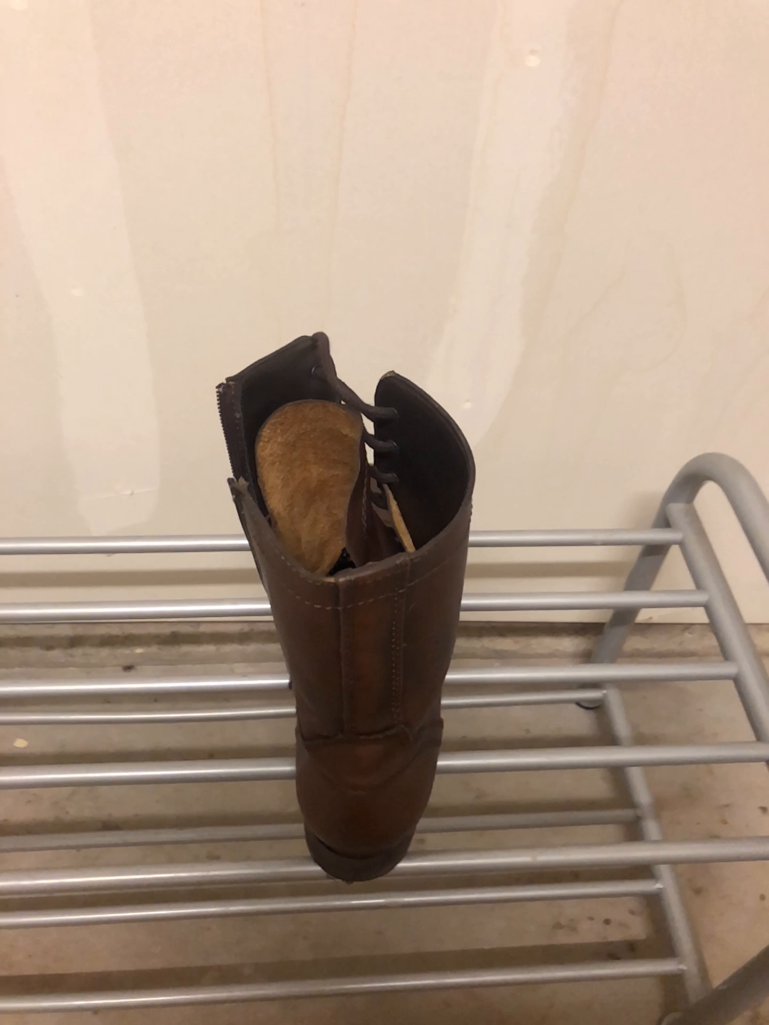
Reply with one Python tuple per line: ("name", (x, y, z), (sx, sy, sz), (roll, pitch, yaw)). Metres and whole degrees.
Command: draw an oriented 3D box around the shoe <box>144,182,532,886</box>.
("shoe", (-0.013, 0.006, 0.451), (0.121, 0.238, 0.288), (0, 47, 0))
